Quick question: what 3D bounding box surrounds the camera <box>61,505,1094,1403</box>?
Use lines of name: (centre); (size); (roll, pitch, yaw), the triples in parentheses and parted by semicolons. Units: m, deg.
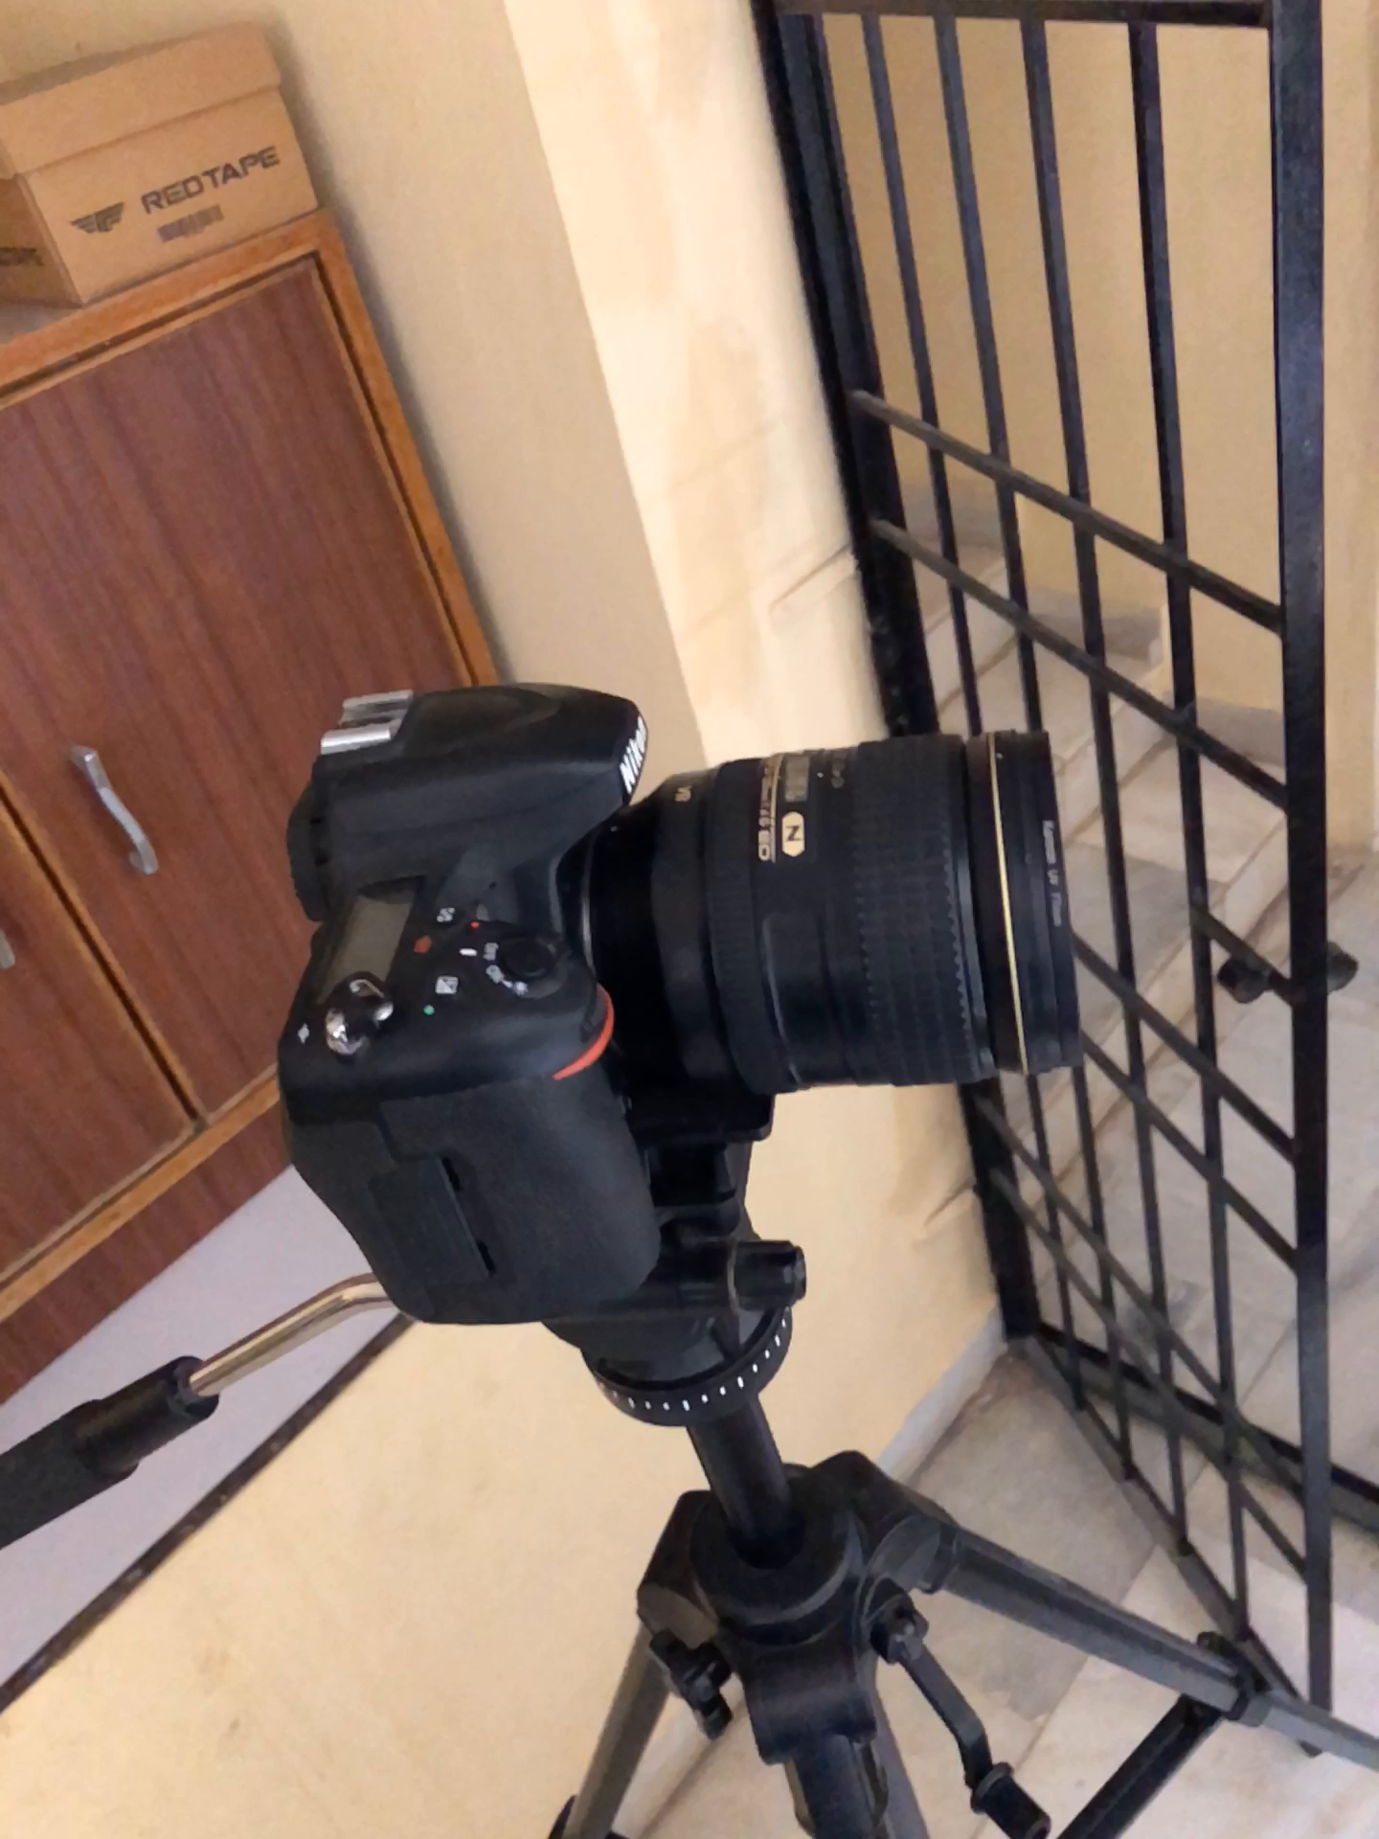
camera: (-0.006, 0.003, 0.348); (0.171, 0.105, 0.171); (-6, 36, 15)
